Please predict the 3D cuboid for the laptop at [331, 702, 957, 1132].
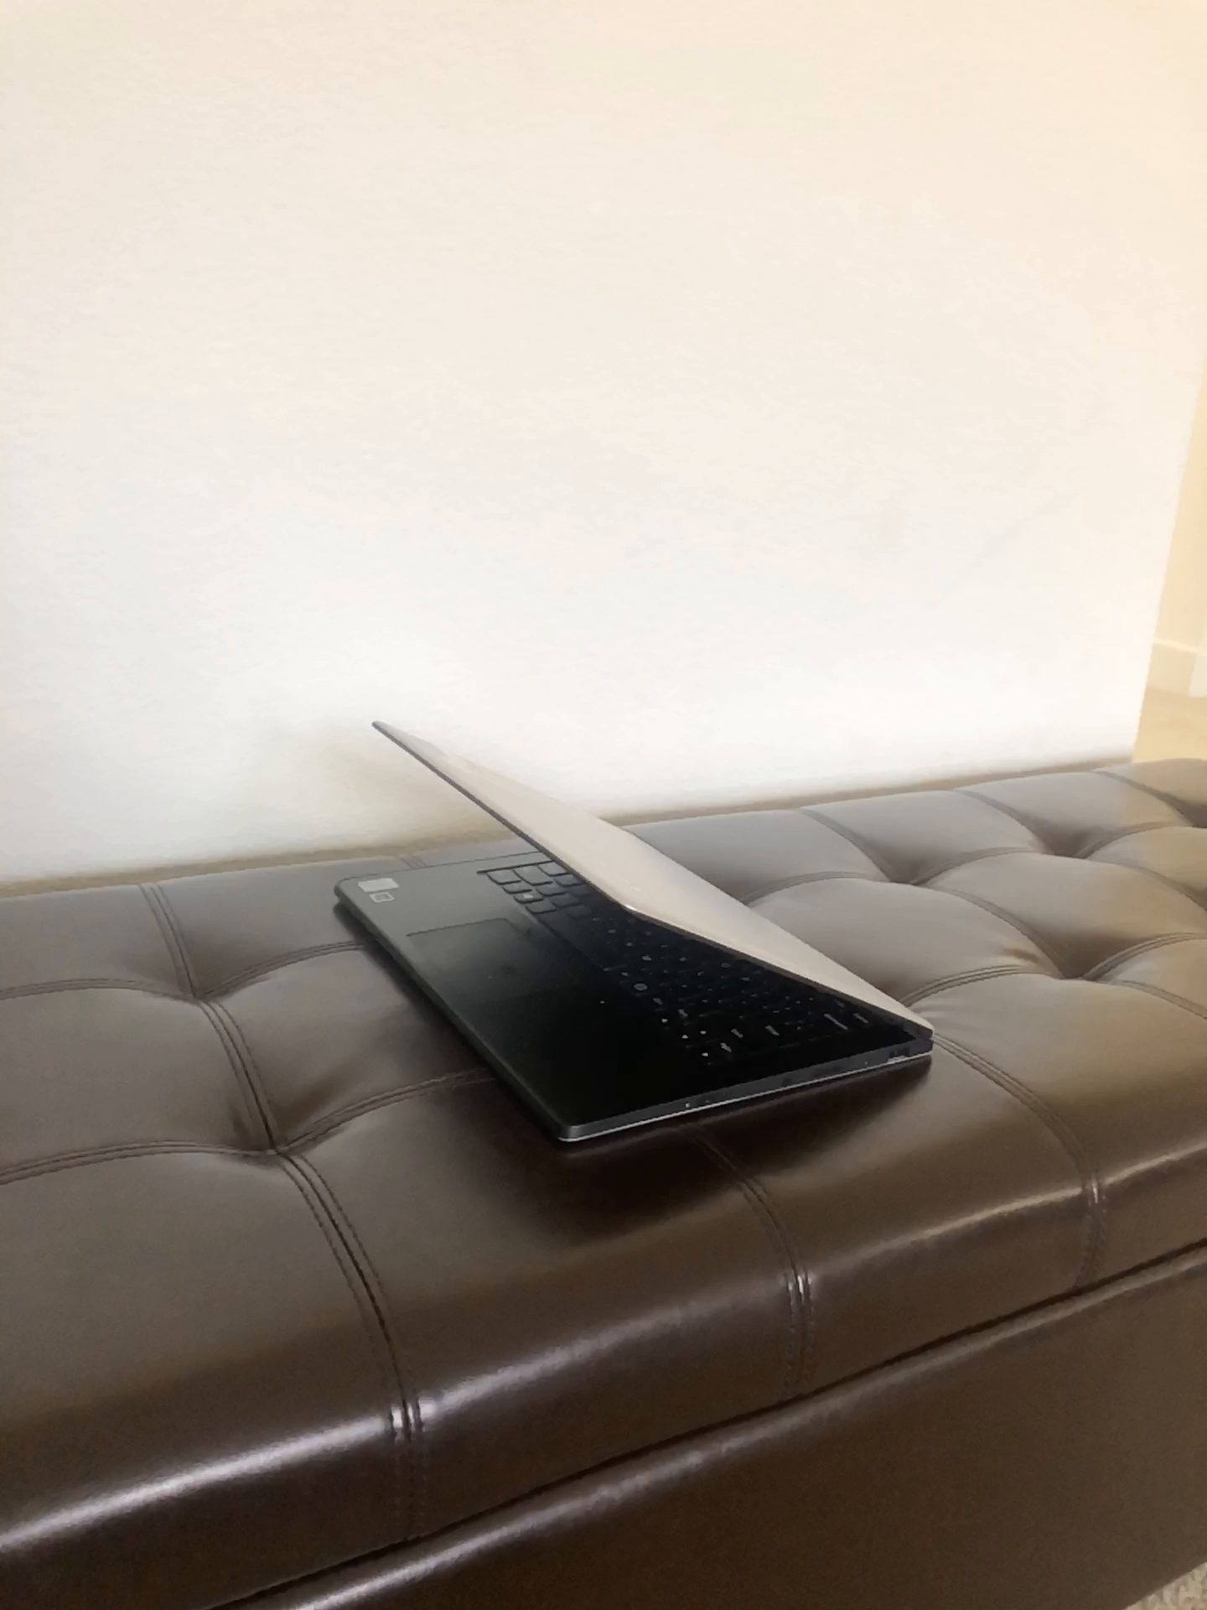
[{"bbox_3d":[0.001,0.035,0.704,0.198,0.097,0.294,-7,21,-29],"label":"laptop"}]
